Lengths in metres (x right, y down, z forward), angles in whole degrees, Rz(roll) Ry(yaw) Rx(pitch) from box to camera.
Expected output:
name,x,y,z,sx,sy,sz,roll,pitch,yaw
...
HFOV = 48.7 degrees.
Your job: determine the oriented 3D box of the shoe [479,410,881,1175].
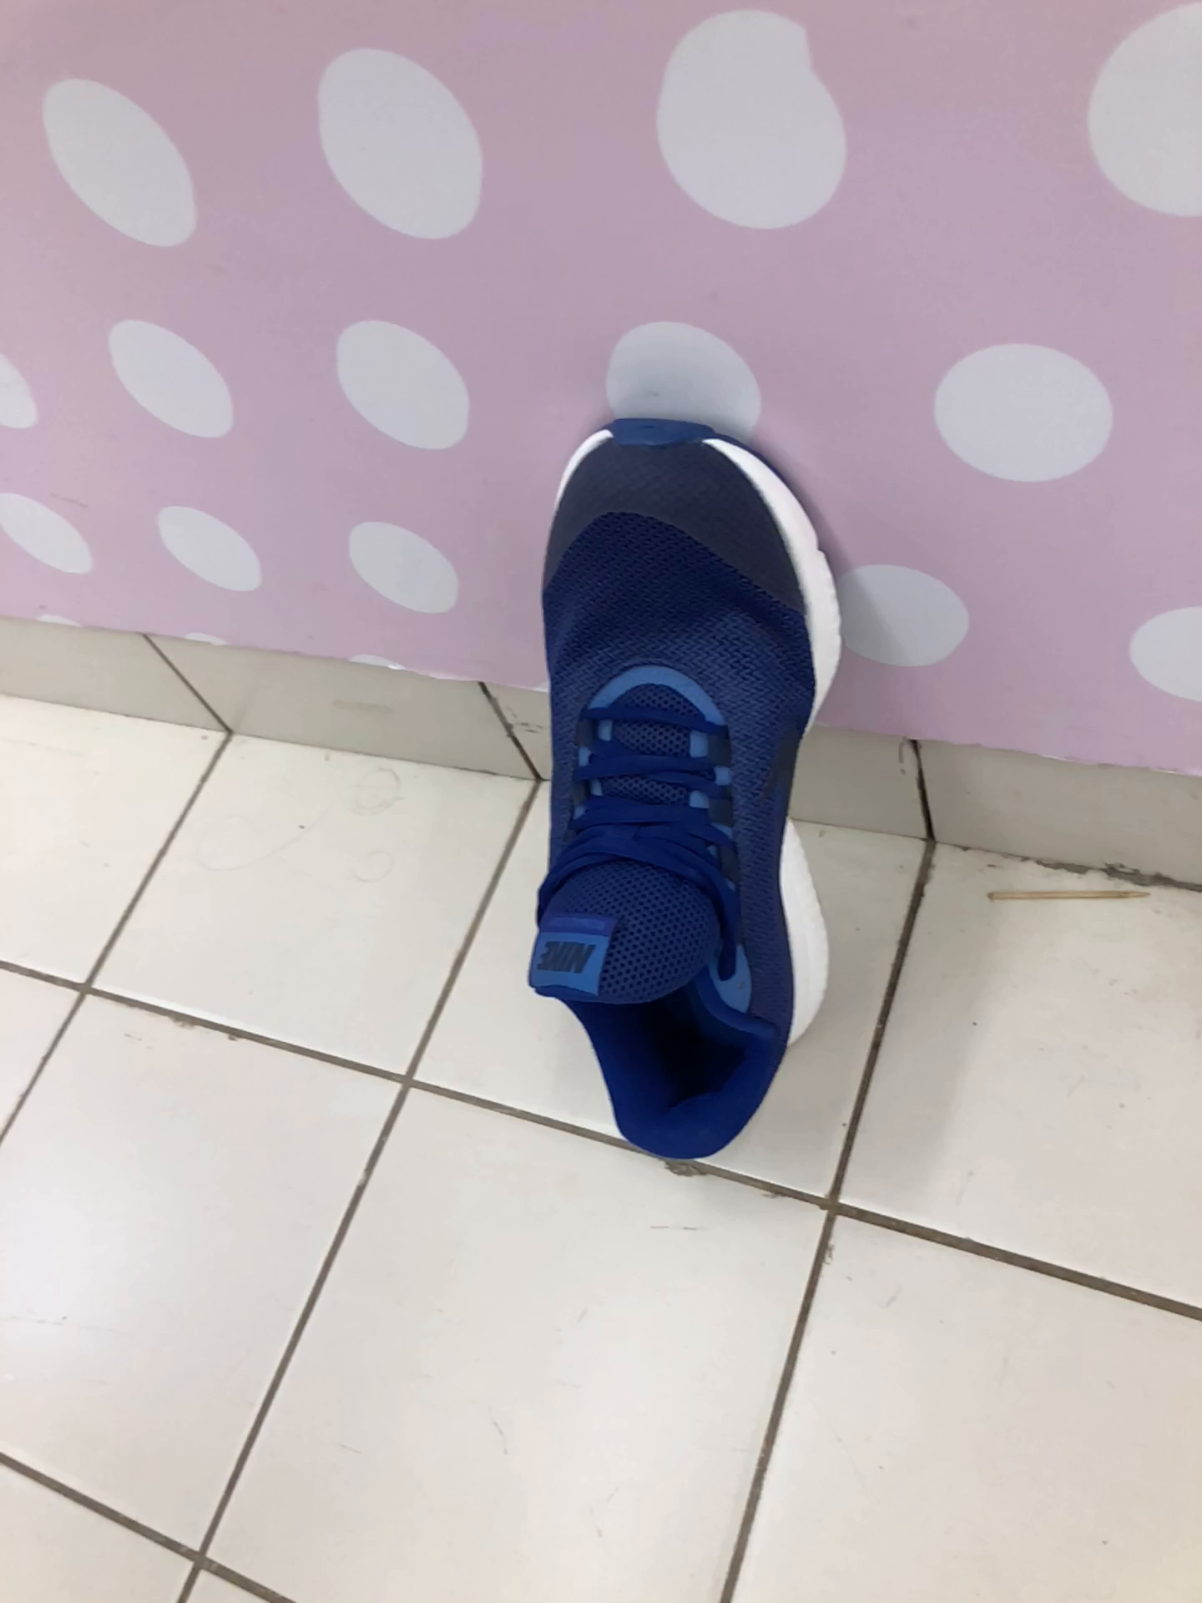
name,x,y,z,sx,sy,sz,roll,pitch,yaw
shoe,0.033,-0.012,0.469,0.100,0.239,0.110,6,18,23
